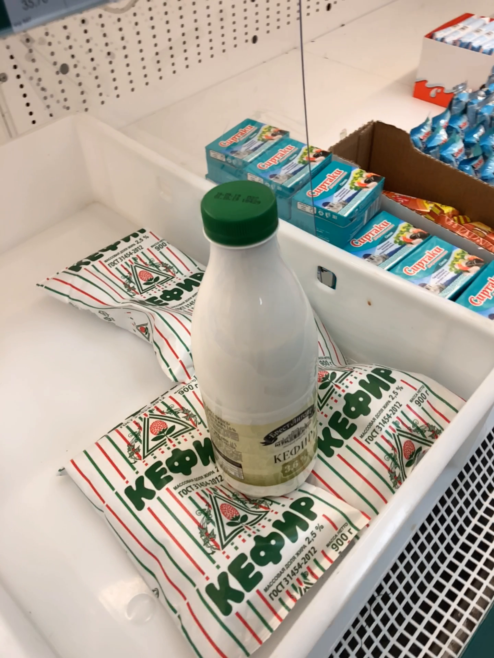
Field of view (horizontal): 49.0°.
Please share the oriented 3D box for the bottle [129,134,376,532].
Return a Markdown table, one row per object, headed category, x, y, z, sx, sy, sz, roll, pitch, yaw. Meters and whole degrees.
| category | x | y | z | sx | sy | sz | roll | pitch | yaw |
| --- | --- | --- | --- | --- | --- | --- | --- | --- | --- |
| bottle | 0.004 | 0.024 | 0.371 | 0.090 | 0.269 | 0.090 | -1 | 48 | 1 |
